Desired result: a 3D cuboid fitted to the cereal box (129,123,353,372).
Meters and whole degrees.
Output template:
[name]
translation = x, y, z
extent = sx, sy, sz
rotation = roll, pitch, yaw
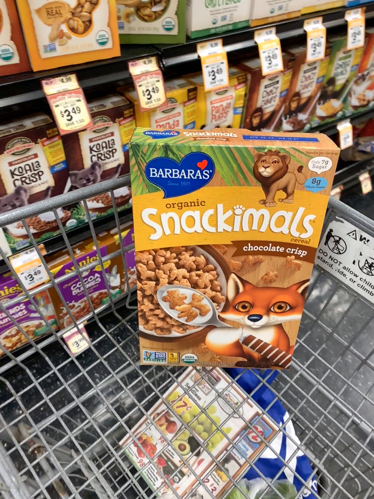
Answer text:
[cereal box]
translation = 0.039, 0.015, 0.402
extent = 0.180, 0.269, 0.050
rotation = 2, 33, -1
